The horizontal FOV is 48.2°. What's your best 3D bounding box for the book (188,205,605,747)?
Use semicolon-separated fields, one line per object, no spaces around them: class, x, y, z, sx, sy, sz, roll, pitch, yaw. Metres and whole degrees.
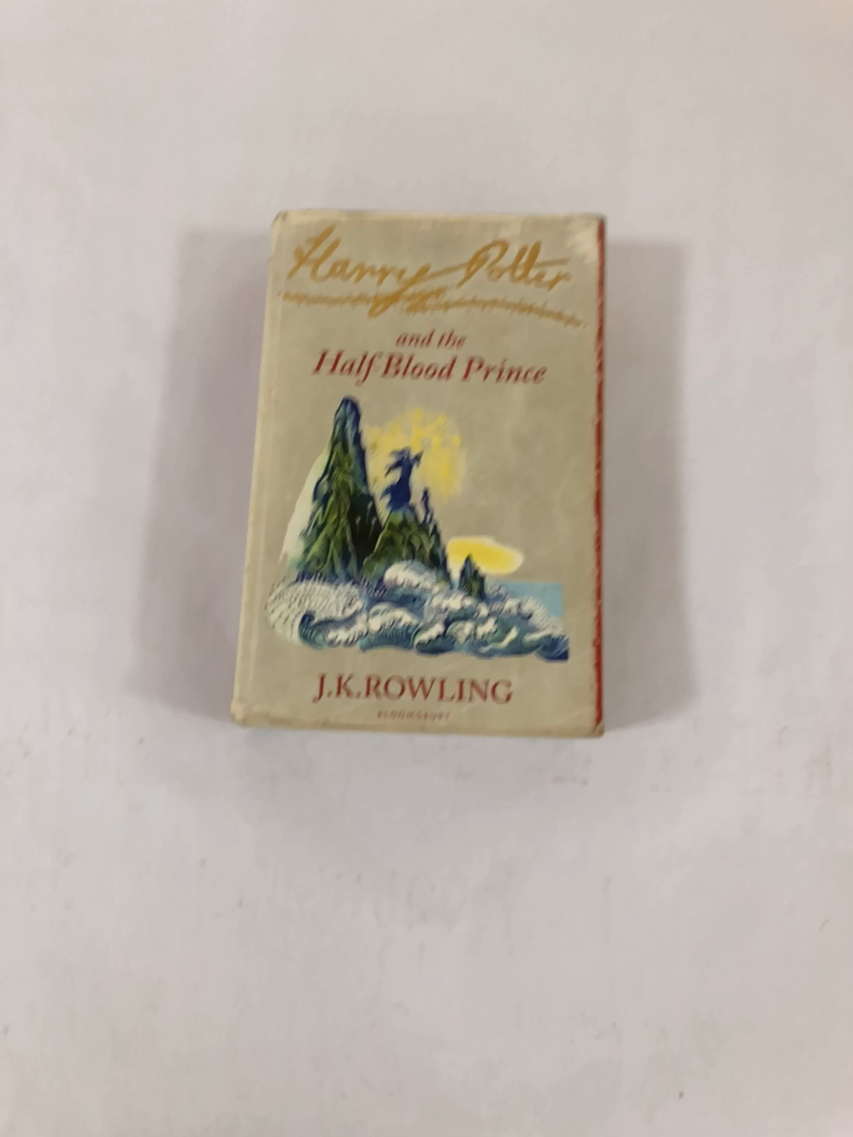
book;-0.007;-0.031;0.338;0.129;0.050;0.181;2;78;0
